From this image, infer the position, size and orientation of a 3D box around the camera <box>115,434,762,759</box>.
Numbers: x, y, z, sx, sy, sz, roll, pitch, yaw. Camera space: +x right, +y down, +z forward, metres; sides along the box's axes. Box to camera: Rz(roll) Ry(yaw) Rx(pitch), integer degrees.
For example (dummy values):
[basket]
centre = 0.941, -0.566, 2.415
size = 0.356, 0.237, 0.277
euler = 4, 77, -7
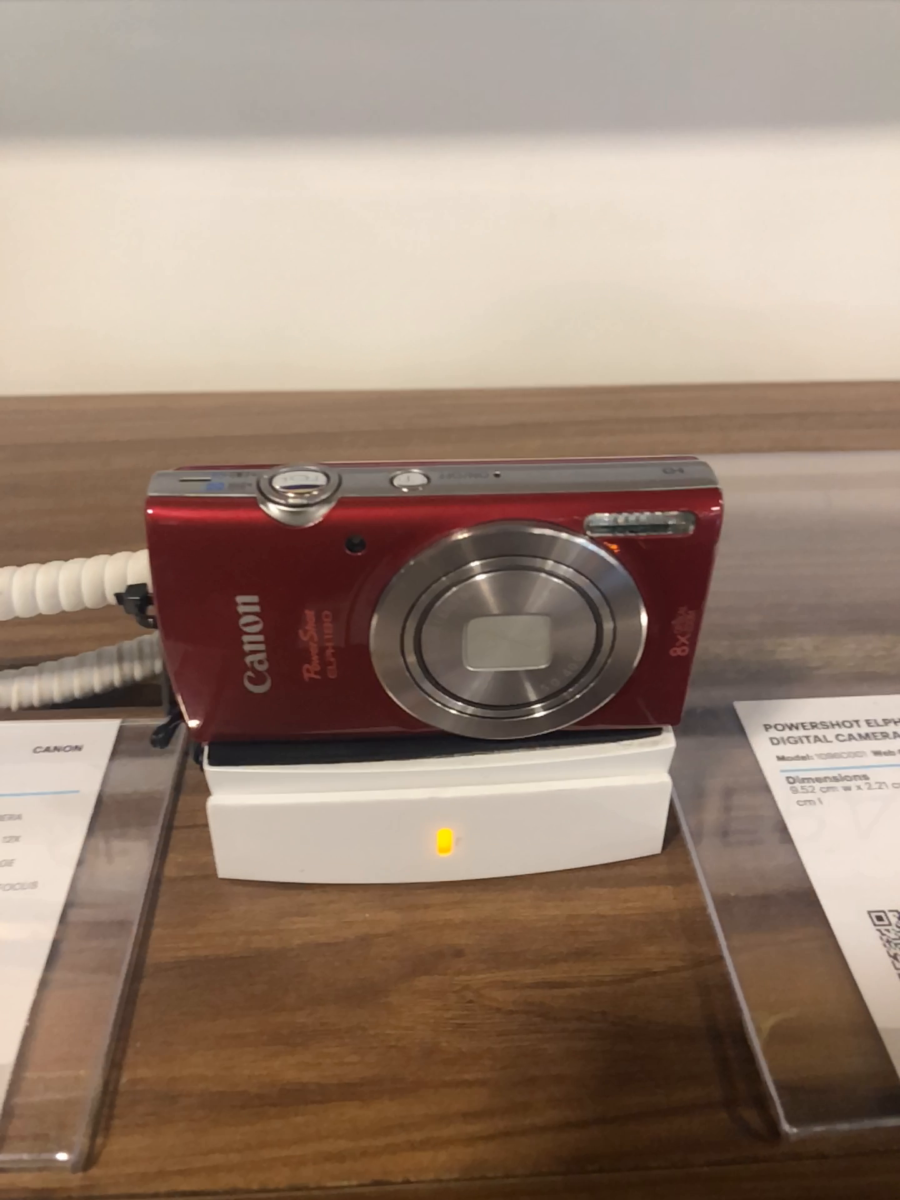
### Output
[camera]
centre = -0.002, 0.000, 0.176
size = 0.097, 0.051, 0.023
euler = -2, 40, -3
